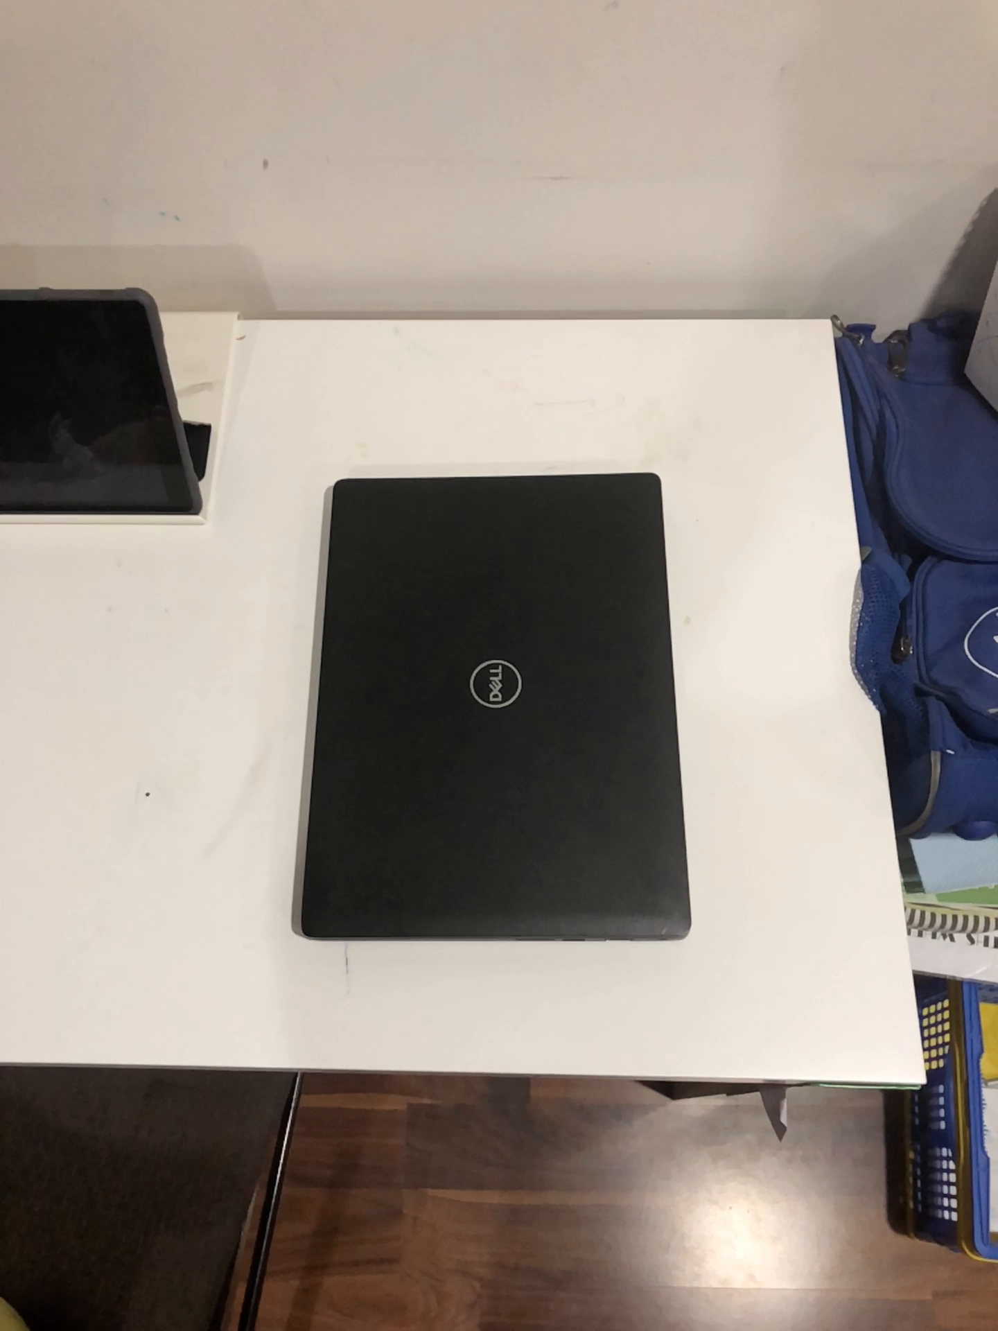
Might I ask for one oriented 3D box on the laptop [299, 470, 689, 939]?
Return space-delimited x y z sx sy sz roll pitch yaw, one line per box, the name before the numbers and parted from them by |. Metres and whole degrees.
laptop | -0.004 0.015 0.744 0.241 0.010 0.333 -1 67 4
